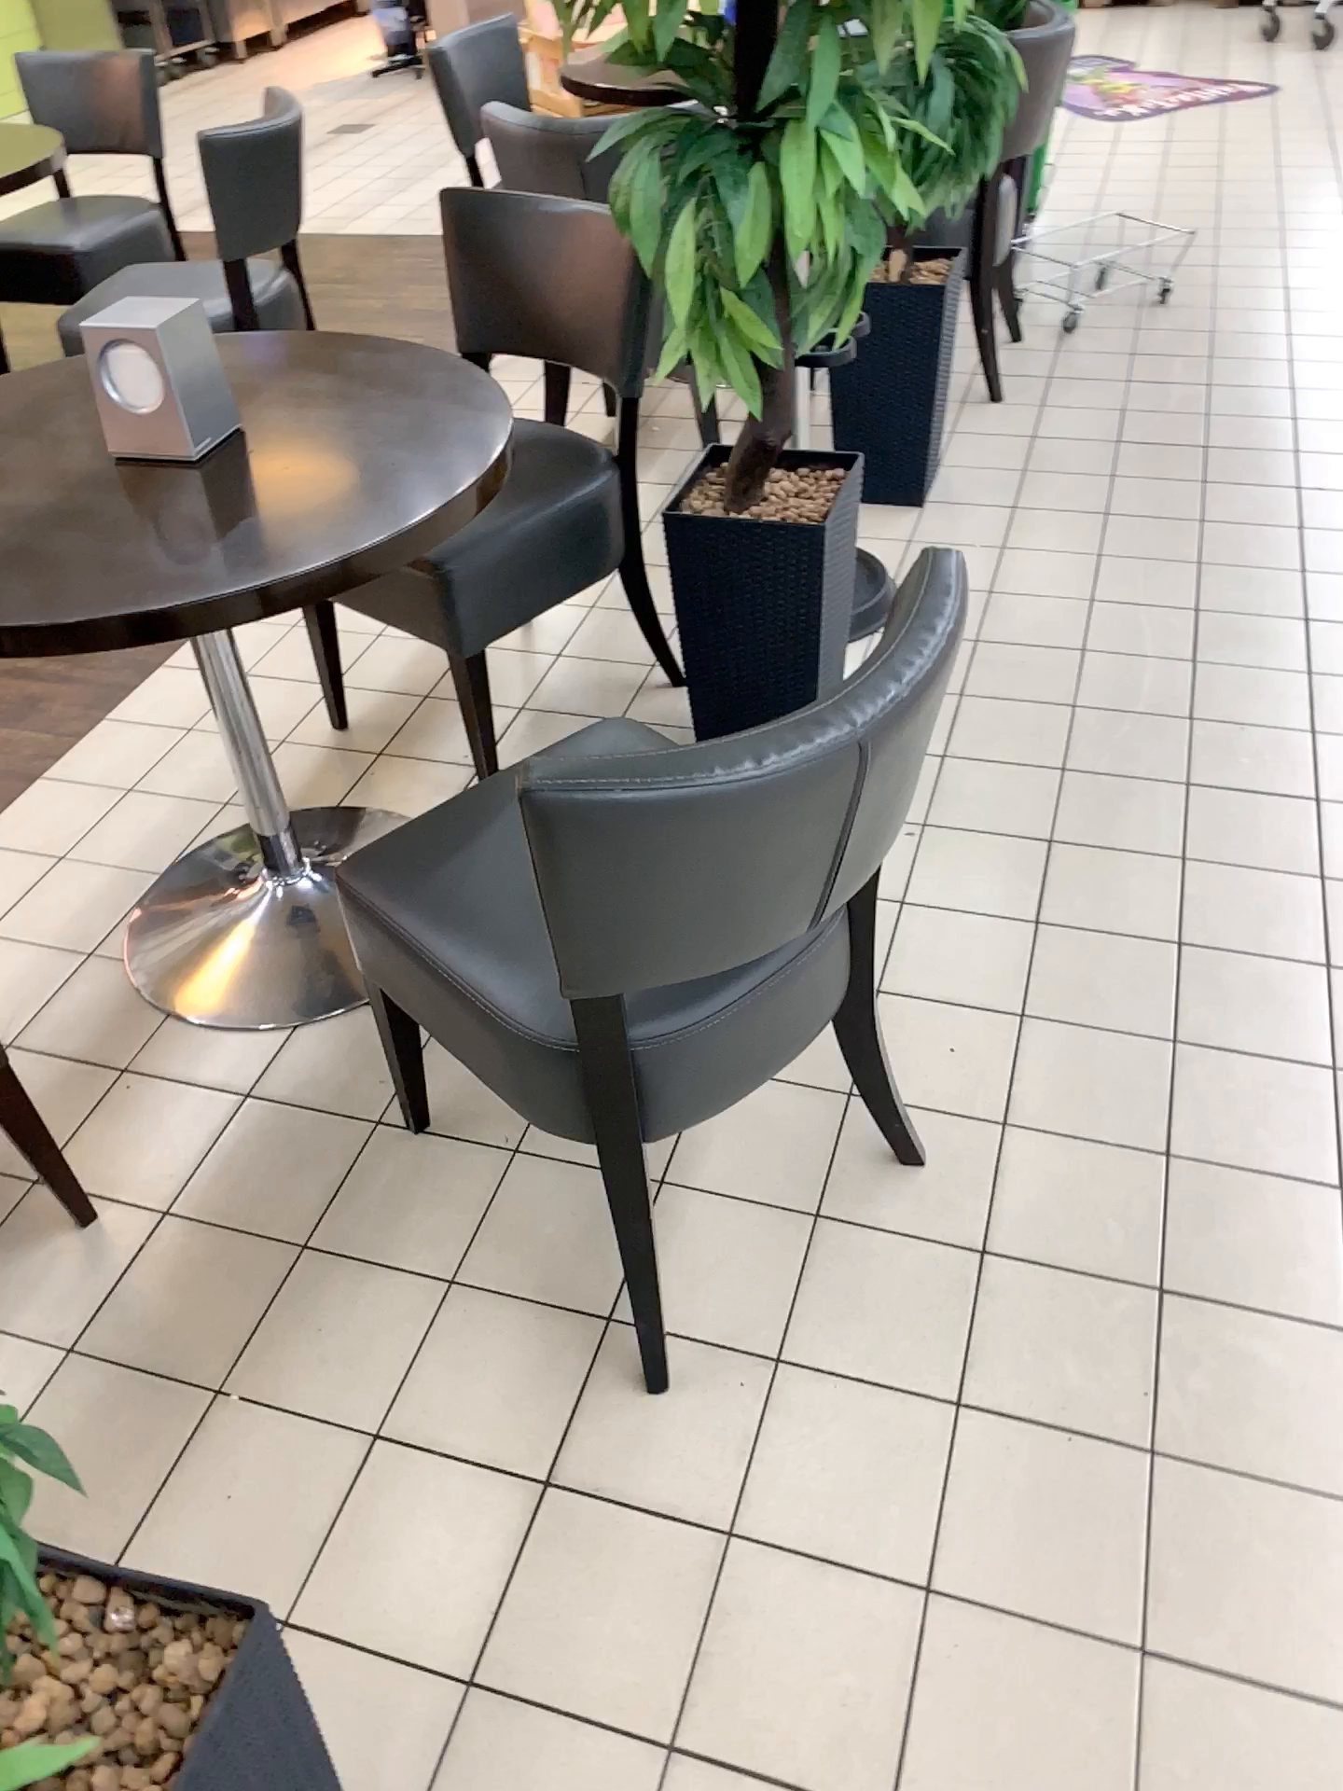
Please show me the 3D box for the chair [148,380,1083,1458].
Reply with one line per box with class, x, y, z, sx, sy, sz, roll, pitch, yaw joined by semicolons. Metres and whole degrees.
chair;-0.044;-0.004;1.462;0.551;0.796;0.642;-32;46;-29
